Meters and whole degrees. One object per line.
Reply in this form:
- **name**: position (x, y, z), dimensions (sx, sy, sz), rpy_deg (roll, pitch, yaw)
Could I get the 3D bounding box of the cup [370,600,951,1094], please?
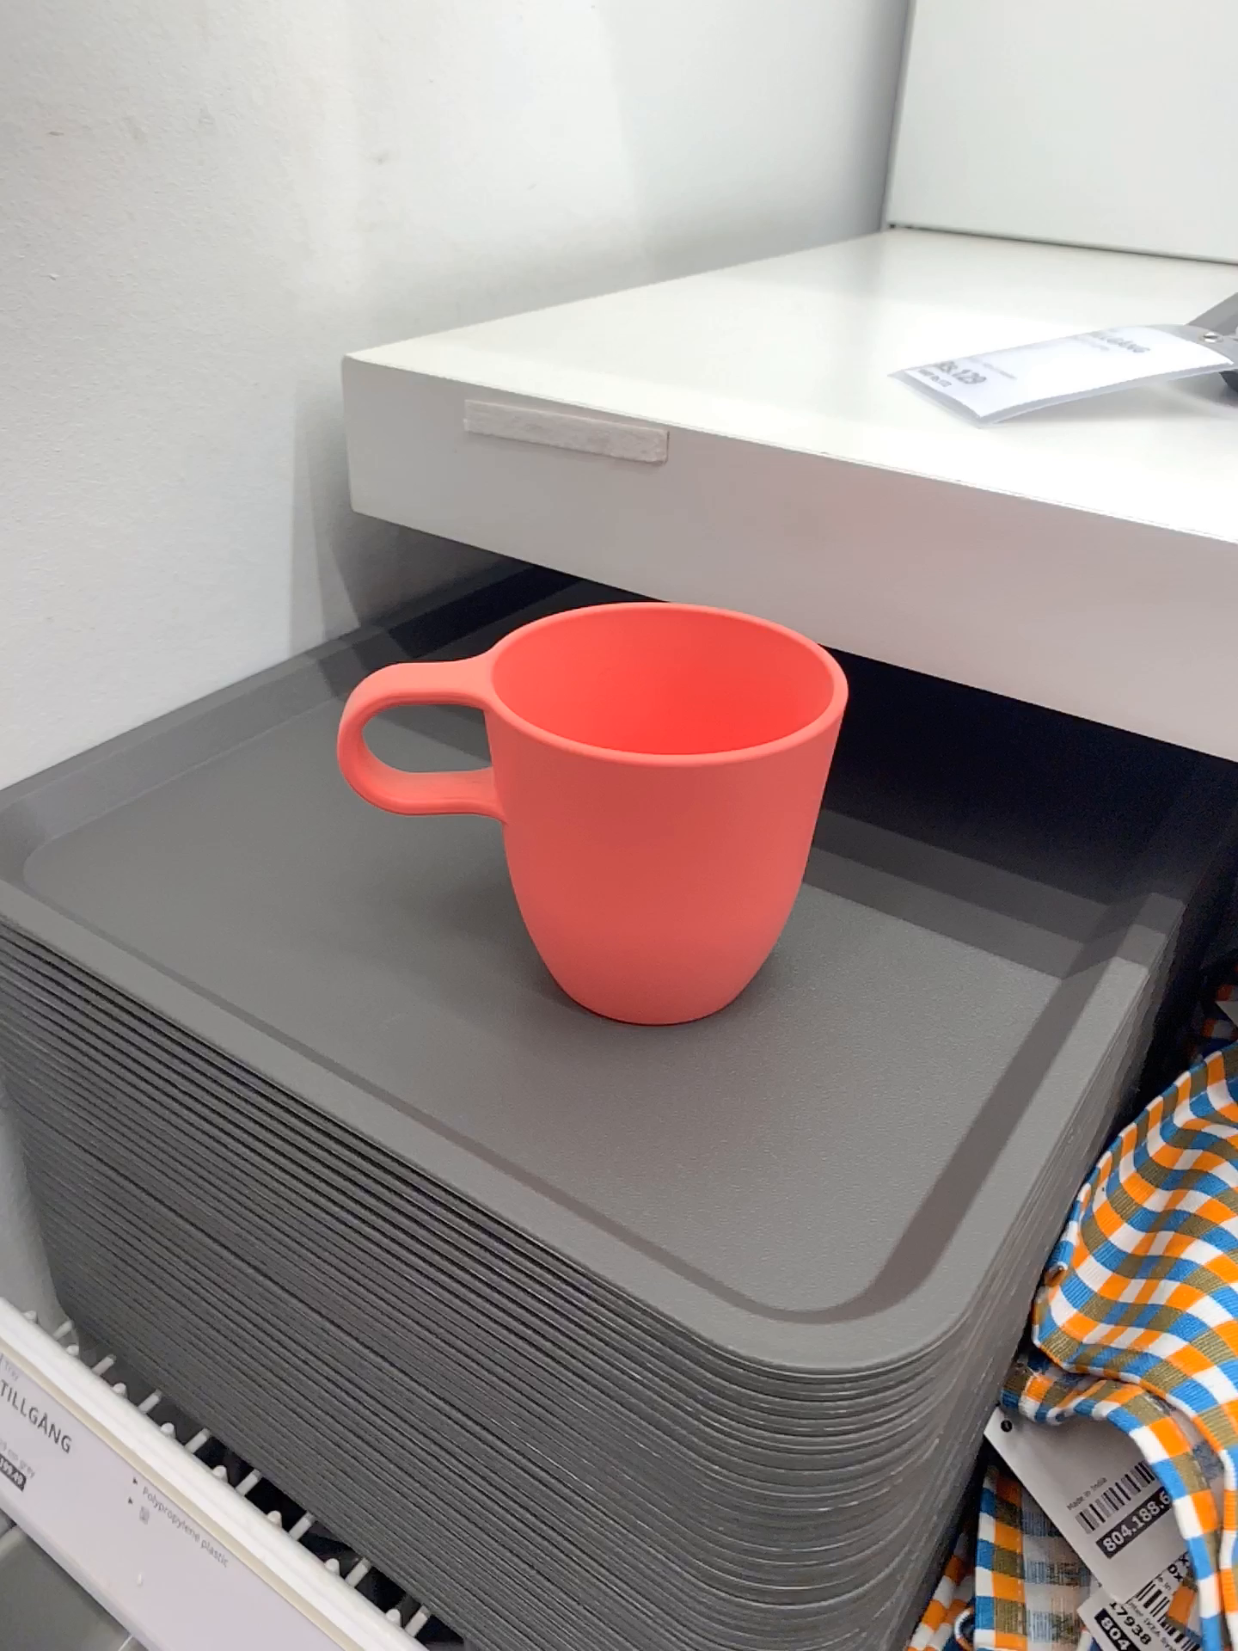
- **cup**: position (0.002, 0.001, 0.288), dimensions (0.110, 0.080, 0.070), rpy_deg (-3, 31, -9)
